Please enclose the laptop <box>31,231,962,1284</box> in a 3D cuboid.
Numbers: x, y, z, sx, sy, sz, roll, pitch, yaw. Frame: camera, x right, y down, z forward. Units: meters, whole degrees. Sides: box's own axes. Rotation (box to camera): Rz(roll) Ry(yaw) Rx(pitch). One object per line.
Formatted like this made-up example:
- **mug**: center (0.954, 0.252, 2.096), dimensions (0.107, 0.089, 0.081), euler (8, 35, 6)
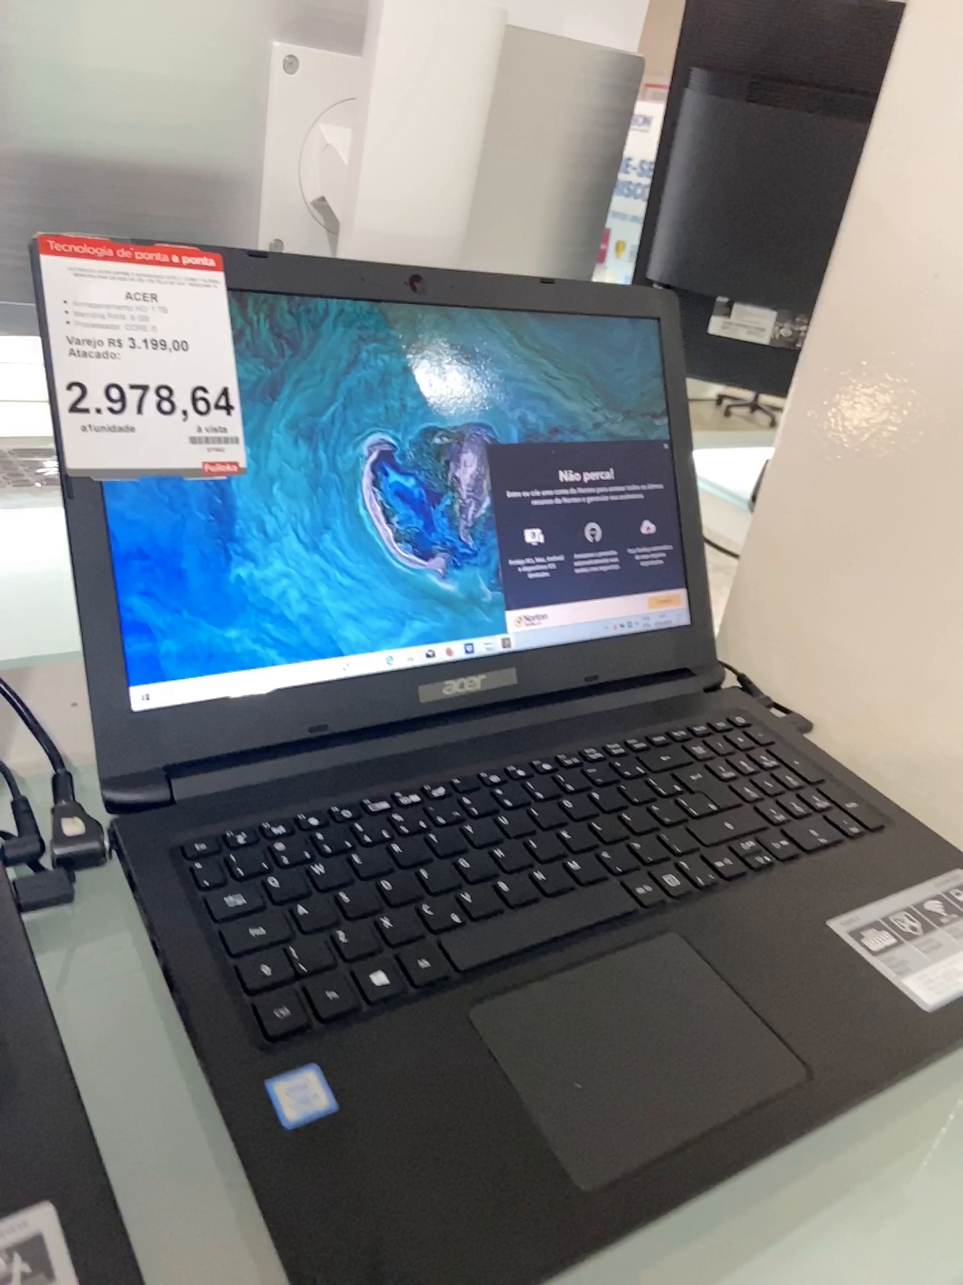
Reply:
- **laptop**: center (0.041, -0.018, 0.433), dimensions (0.370, 0.205, 0.376), euler (-8, 32, -31)
